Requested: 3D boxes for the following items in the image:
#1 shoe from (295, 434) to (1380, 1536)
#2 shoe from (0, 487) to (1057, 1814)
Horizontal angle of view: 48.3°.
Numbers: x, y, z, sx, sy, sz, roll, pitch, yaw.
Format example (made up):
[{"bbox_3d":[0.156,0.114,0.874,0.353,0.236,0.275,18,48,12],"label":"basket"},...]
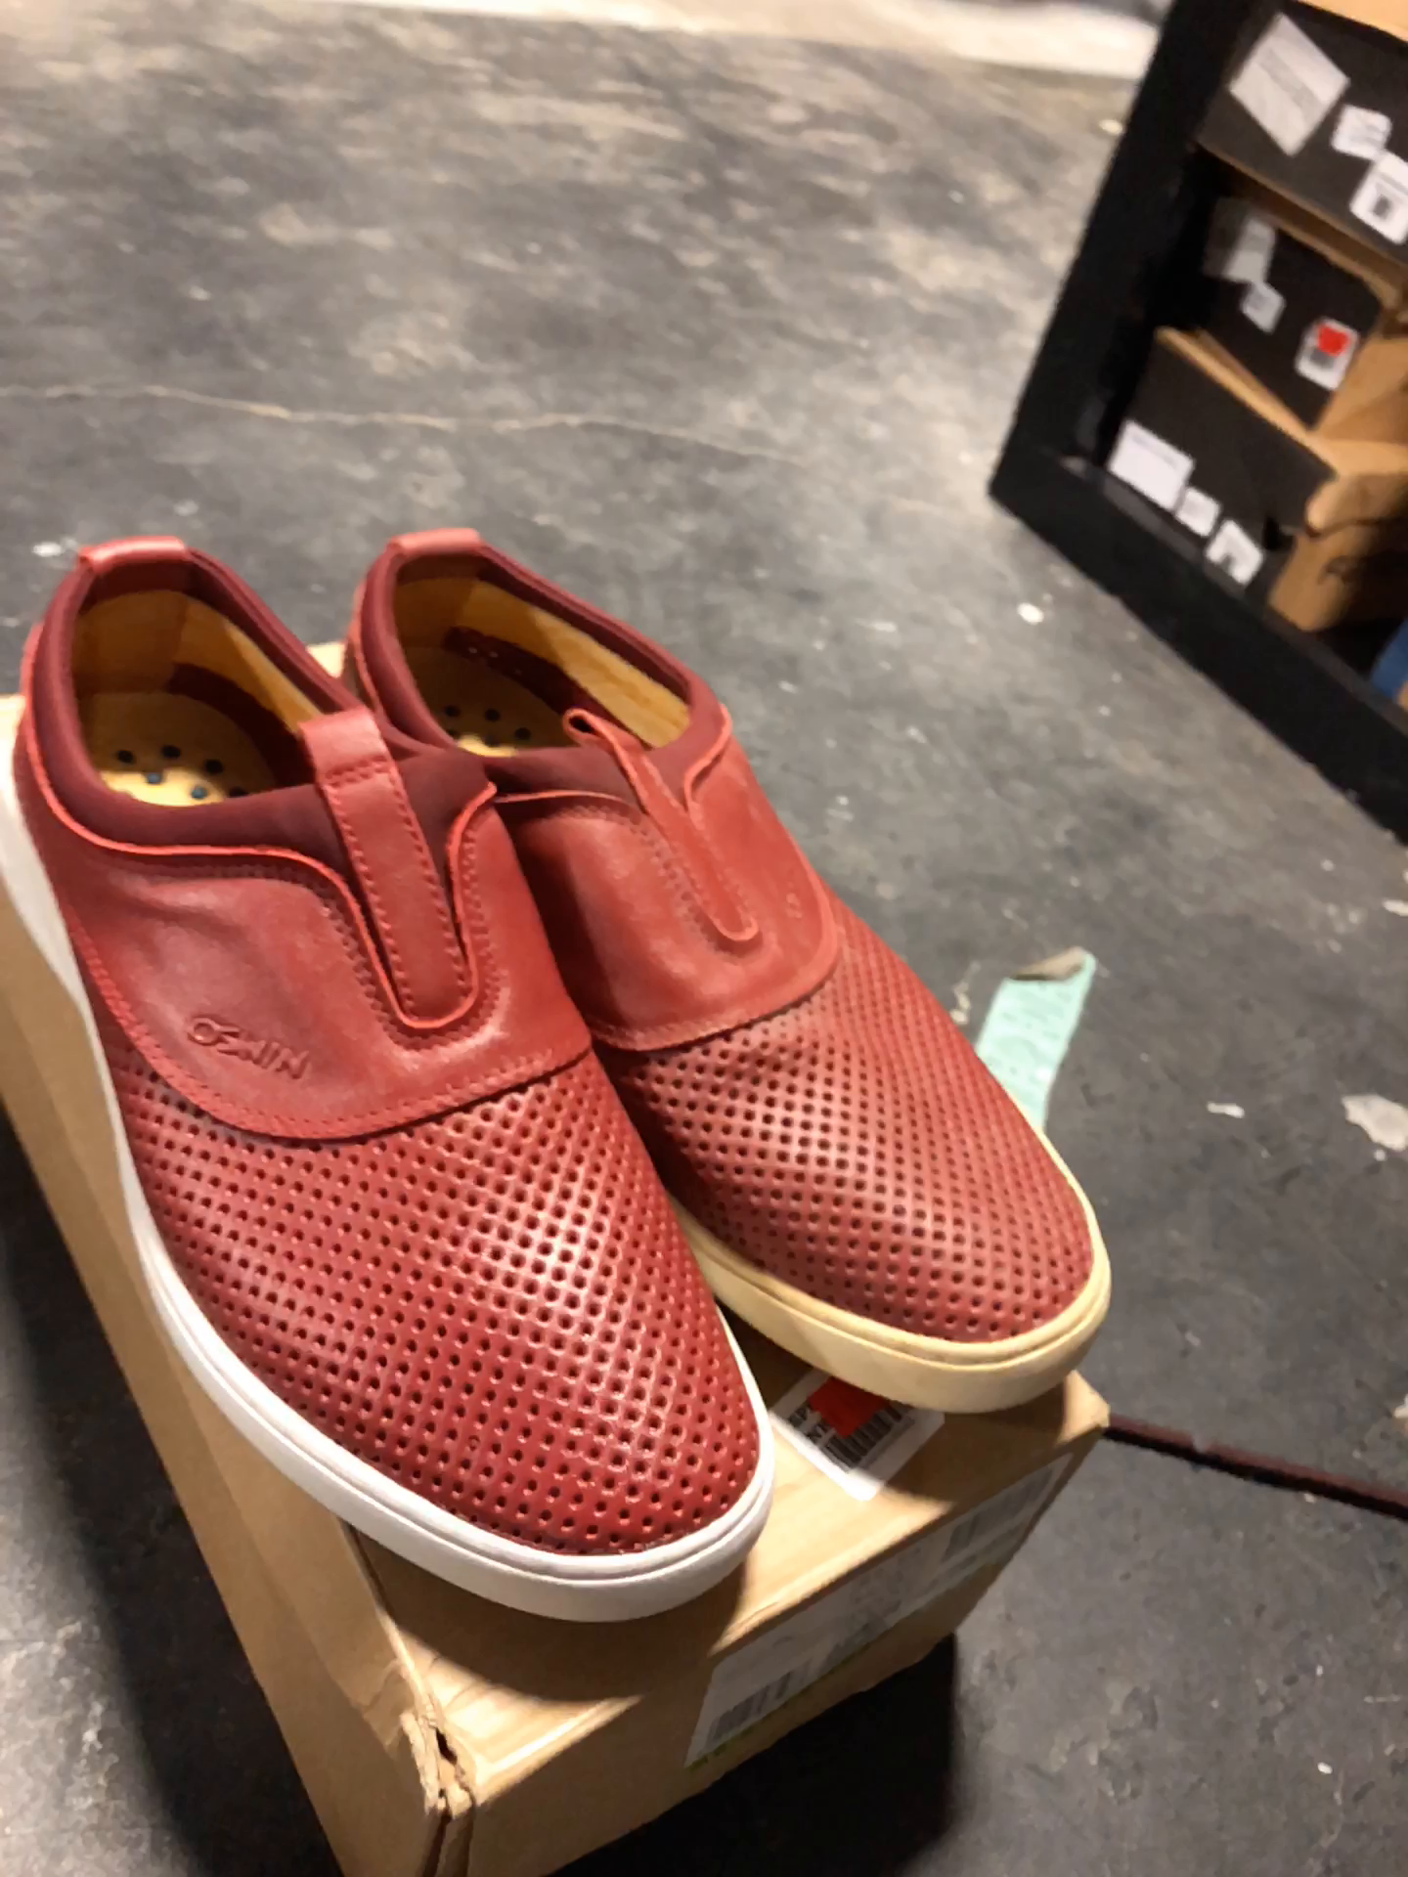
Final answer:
[{"bbox_3d":[0.010,-0.006,0.366,0.100,0.109,0.231,-21,54,-36],"label":"shoe"},{"bbox_3d":[-0.064,0.022,0.316,0.100,0.109,0.231,-21,54,-36],"label":"shoe"}]
